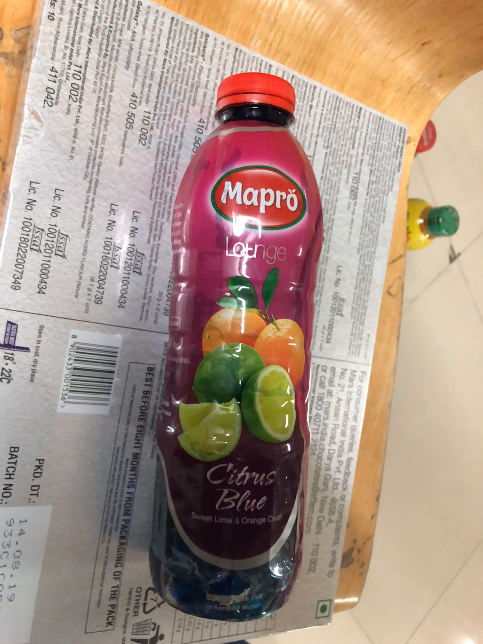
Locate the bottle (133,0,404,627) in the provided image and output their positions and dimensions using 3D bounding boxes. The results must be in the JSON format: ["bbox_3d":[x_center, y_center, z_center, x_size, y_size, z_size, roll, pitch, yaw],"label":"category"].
[{"bbox_3d":[0.006,-0.004,0.269,0.090,0.080,0.270,5,93,-7],"label":"bottle"}]
